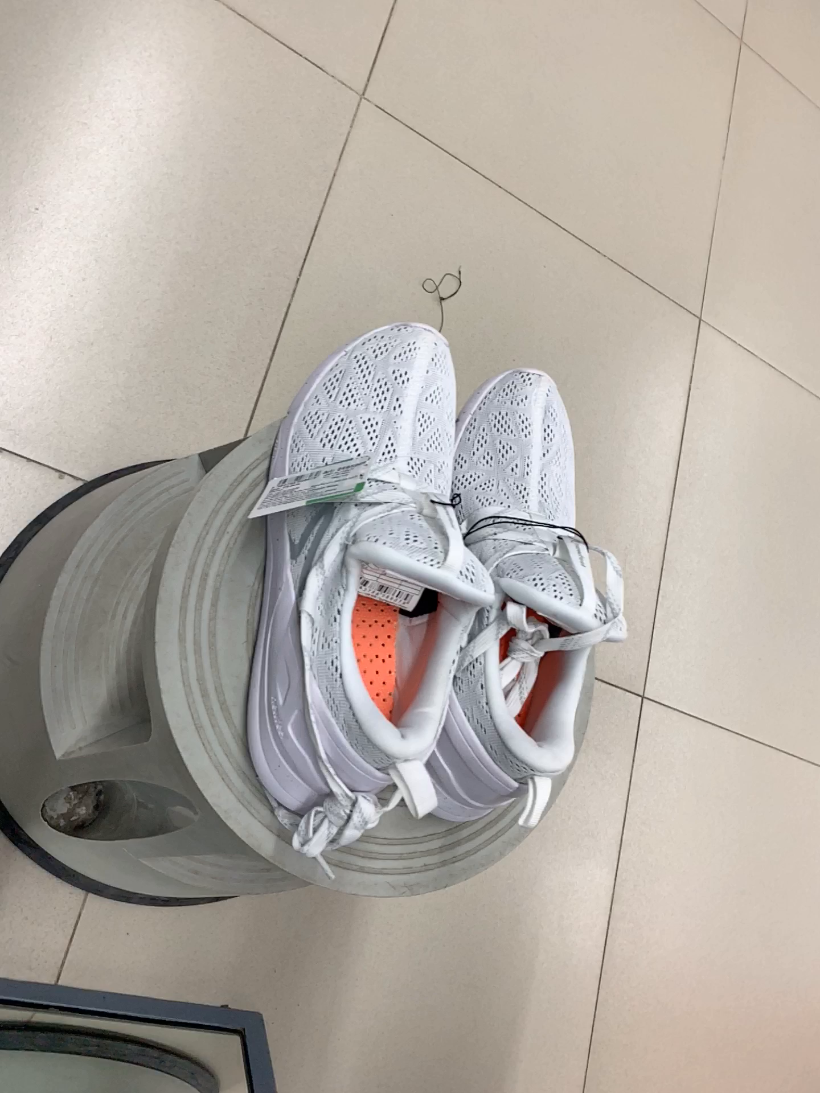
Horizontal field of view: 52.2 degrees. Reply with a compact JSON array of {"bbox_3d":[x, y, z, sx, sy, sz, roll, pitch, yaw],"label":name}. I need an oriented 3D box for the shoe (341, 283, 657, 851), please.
[{"bbox_3d":[0.056,0.012,0.471,0.110,0.080,0.280,20,71,-25],"label":"shoe"}]

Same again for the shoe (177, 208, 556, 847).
[{"bbox_3d":[-0.016,-0.008,0.425,0.110,0.090,0.280,20,71,-25],"label":"shoe"}]
